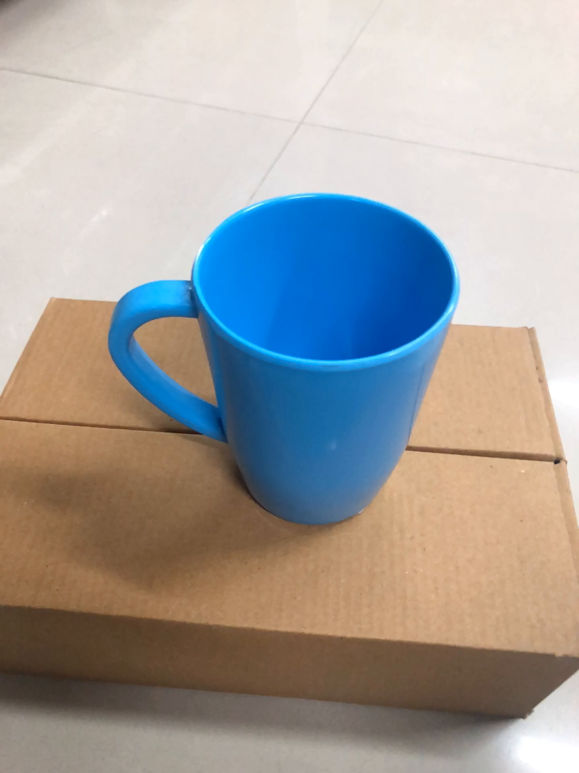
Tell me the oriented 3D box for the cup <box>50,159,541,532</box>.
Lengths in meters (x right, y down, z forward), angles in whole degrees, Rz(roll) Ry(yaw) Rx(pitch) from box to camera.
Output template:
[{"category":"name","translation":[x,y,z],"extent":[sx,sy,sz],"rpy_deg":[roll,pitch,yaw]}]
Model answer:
[{"category":"cup","translation":[-0.001,-0.013,0.218],"extent":[0.120,0.089,0.080],"rpy_deg":[-3,49,-3]}]
